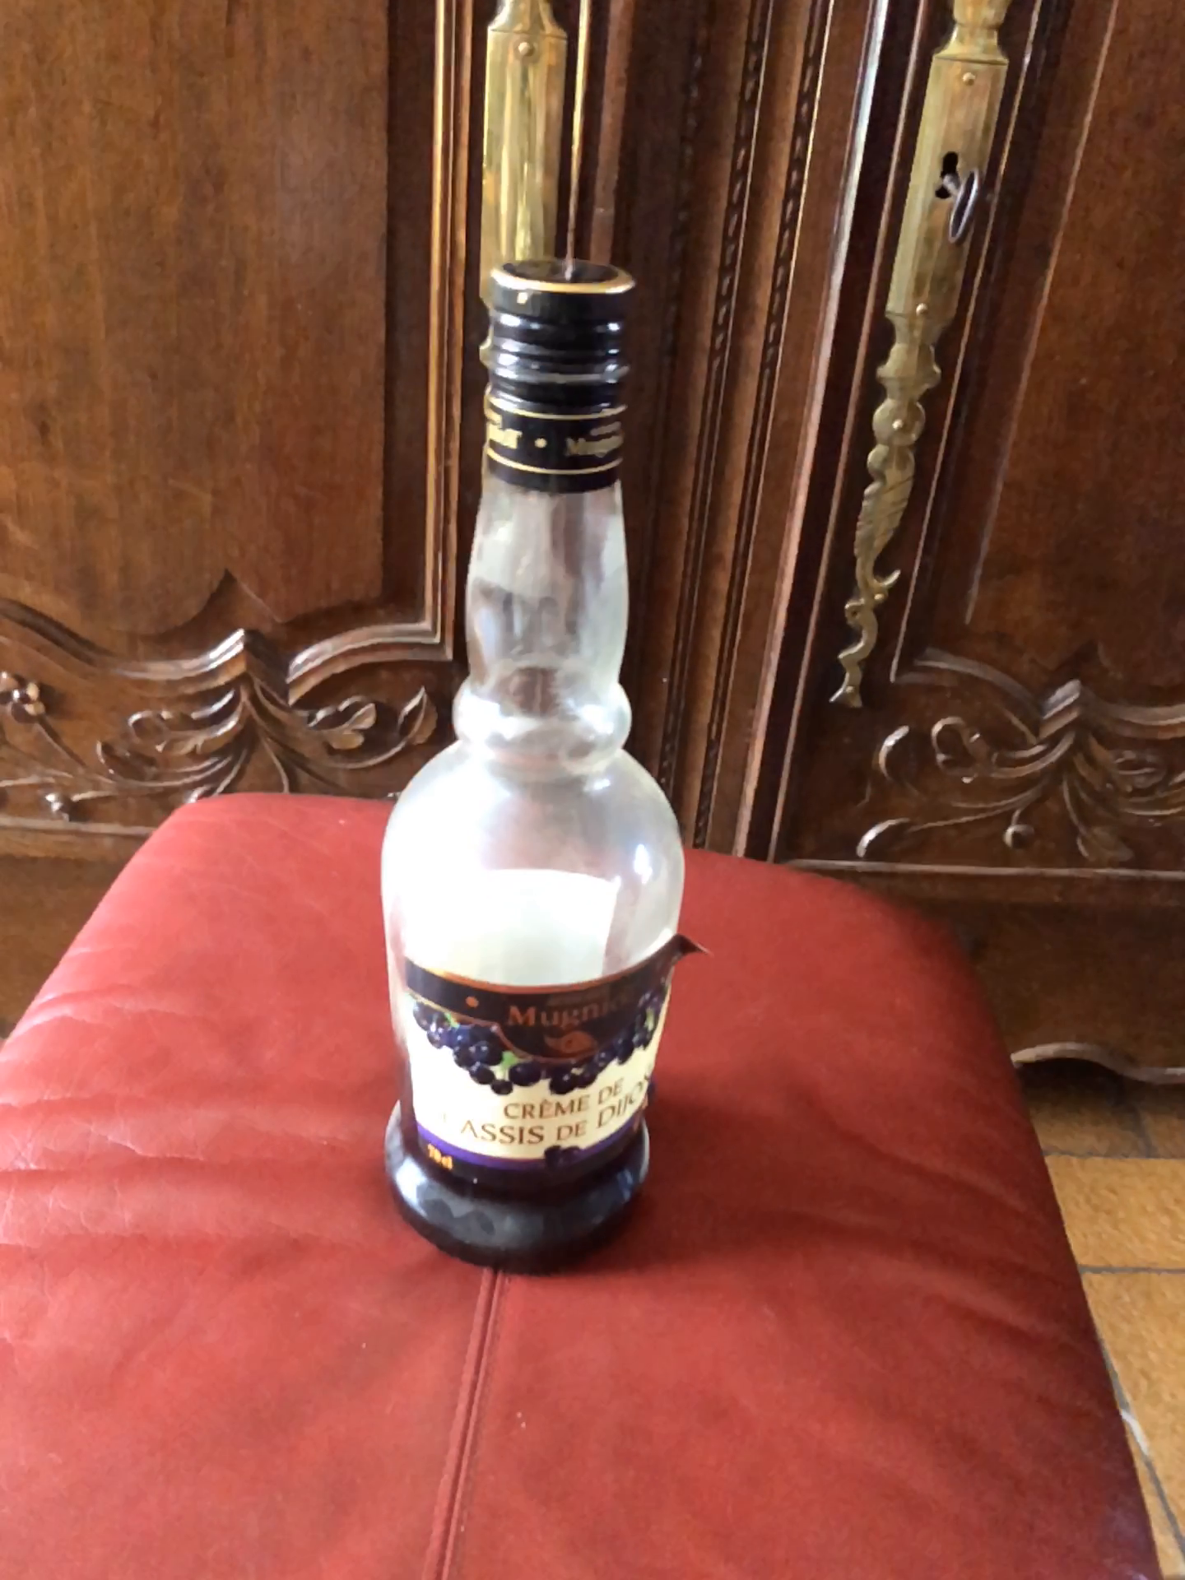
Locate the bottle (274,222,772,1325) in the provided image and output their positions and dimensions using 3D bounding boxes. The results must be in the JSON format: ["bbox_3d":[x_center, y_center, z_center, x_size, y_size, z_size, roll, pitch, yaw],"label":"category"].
[{"bbox_3d":[-0.028,0.007,0.345,0.080,0.278,0.080,4,32,-2],"label":"bottle"}]
